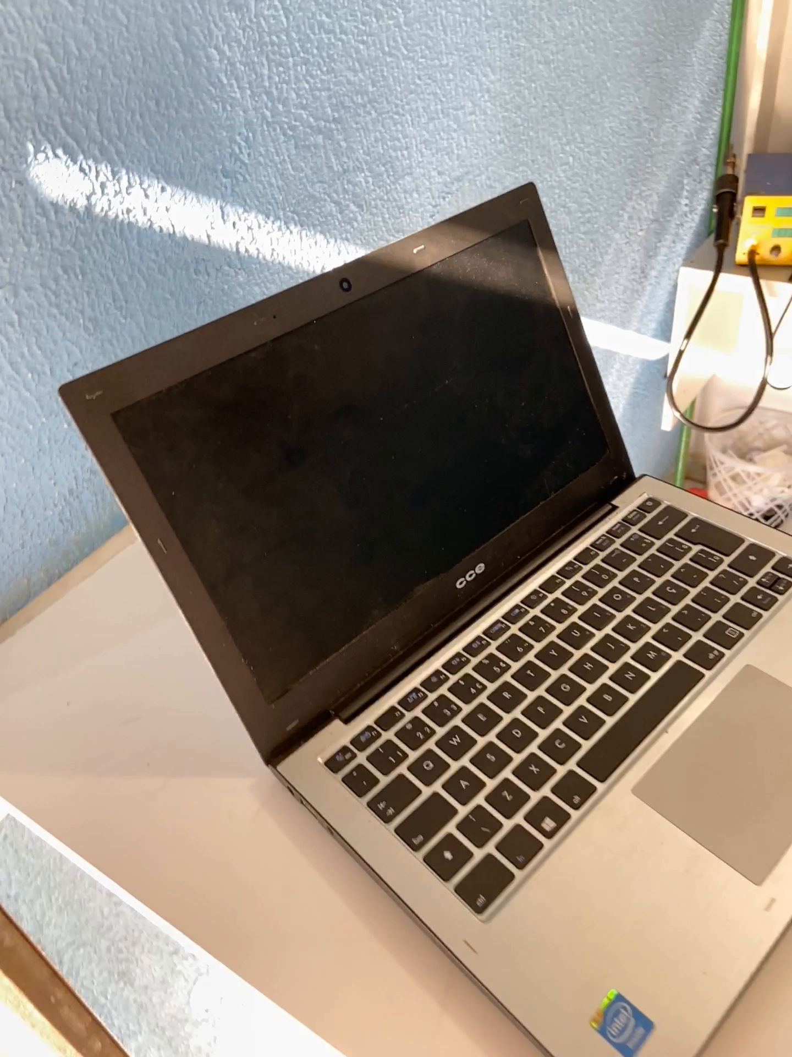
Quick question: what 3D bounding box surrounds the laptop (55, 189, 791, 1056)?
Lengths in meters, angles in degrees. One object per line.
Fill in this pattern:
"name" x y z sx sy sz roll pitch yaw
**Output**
"laptop" 0.081 -0.003 0.387 0.314 0.181 0.304 -33 45 -29
